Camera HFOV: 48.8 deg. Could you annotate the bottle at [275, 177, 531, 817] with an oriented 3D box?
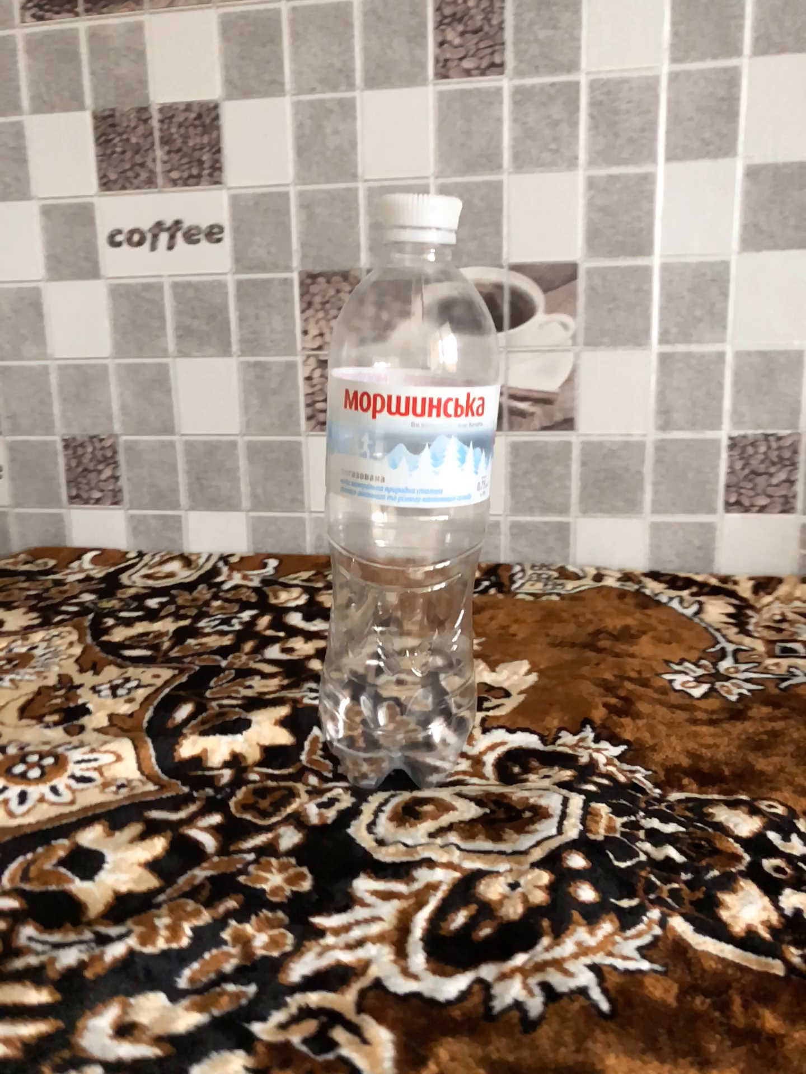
[{"bbox_3d":[0.002,-0.017,0.384,0.090,0.249,0.080,3,15,8],"label":"bottle"}]
